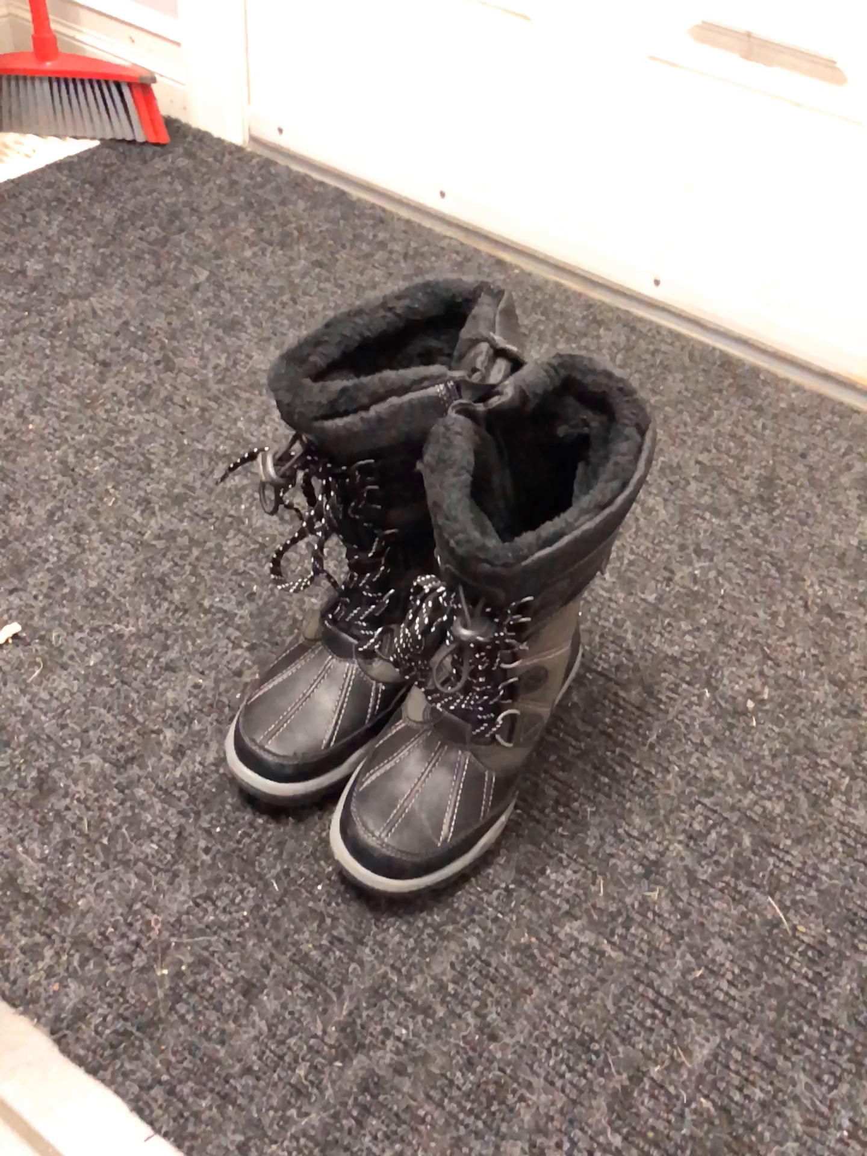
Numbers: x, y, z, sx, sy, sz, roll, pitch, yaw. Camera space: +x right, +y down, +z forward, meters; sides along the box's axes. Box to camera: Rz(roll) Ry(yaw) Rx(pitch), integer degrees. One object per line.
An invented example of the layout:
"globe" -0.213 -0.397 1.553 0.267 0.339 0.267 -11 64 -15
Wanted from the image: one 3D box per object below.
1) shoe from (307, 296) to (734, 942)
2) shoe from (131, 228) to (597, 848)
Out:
"shoe" 0.044 0.025 0.565 0.100 0.269 0.261 27 49 17
"shoe" -0.034 -0.025 0.593 0.110 0.269 0.261 28 50 18
